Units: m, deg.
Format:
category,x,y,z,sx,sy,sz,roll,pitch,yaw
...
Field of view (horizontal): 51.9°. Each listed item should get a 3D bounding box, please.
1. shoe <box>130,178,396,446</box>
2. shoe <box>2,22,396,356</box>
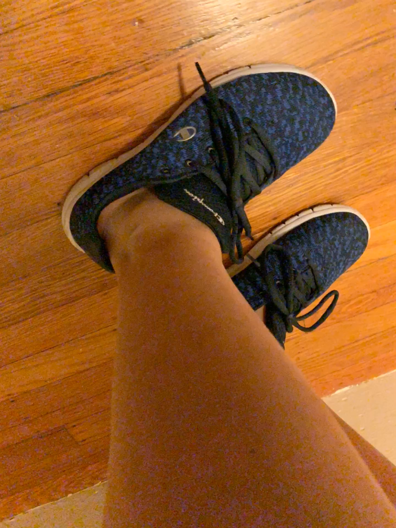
category,x,y,z,sx,sy,sz,roll,pitch,yaw
shoe,0.081,0.050,0.445,0.280,0.129,0.118,-31,124,6
shoe,0.003,-0.073,0.357,0.290,0.149,0.116,-29,124,4
